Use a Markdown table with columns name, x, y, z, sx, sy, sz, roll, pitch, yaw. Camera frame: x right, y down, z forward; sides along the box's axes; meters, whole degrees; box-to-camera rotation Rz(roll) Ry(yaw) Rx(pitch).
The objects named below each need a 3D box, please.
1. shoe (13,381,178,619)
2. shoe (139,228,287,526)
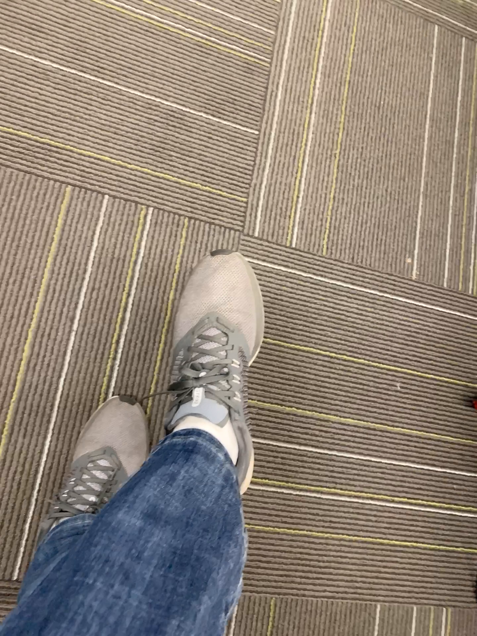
| name | x | y | z | sx | sy | sz | roll | pitch | yaw |
| --- | --- | --- | --- | --- | --- | --- | --- | --- | --- |
| shoe | -0.226 | 0.274 | 0.800 | 0.124 | 0.180 | 0.309 | 22 | 75 | -12 |
| shoe | -0.028 | 0.067 | 0.558 | 0.126 | 0.115 | 0.297 | -6 | 78 | 14 |
